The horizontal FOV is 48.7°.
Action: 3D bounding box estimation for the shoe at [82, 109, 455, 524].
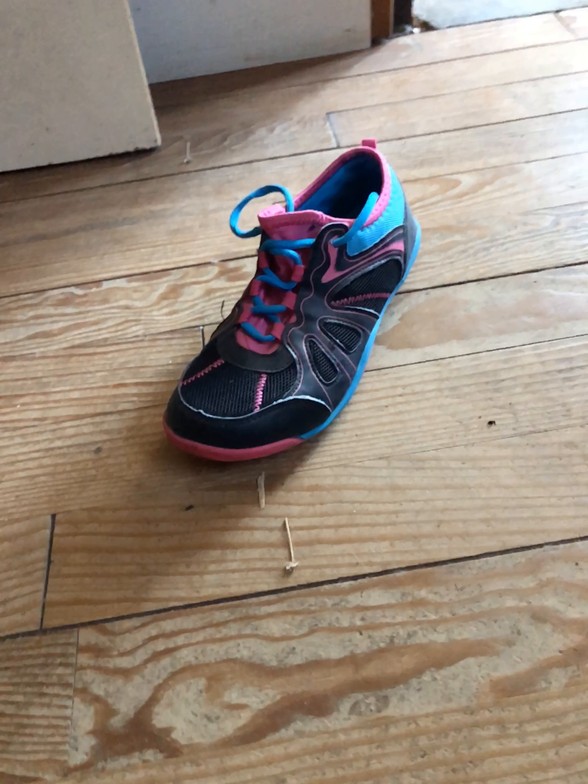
[{"bbox_3d":[0.004,-0.066,0.422,0.110,0.100,0.261,19,55,20],"label":"shoe"}]
